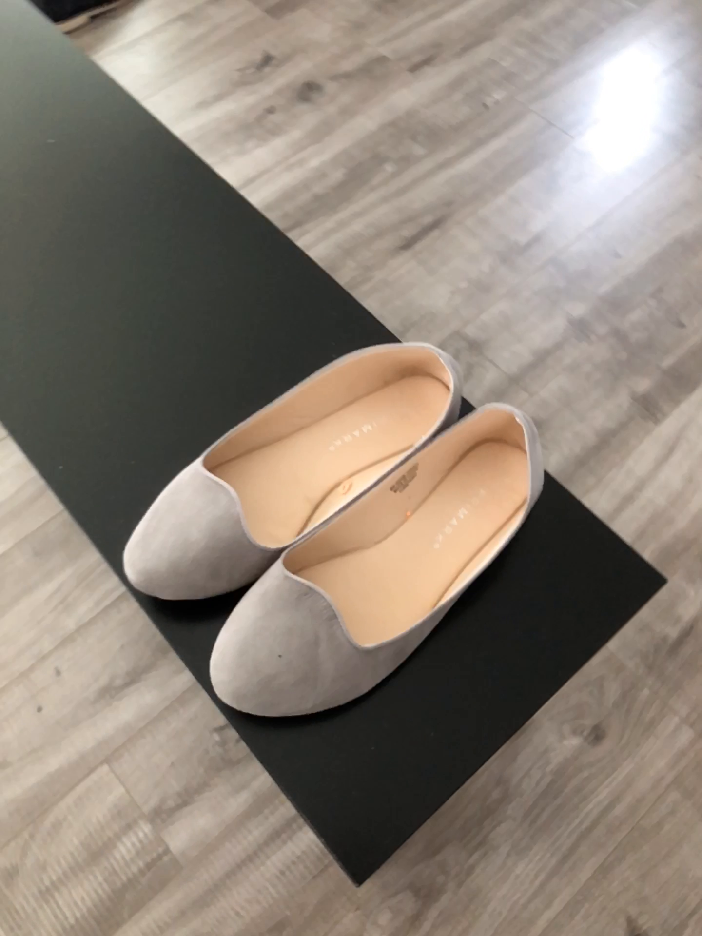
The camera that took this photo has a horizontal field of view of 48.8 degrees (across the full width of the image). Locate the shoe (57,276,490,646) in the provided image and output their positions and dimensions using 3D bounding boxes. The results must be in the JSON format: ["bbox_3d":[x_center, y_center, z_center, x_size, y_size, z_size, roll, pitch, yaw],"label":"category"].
[{"bbox_3d":[-0.042,-0.011,0.494,0.250,0.060,0.100,-35,68,-16],"label":"shoe"}]

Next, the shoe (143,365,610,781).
[{"bbox_3d":[0.020,0.055,0.459,0.256,0.060,0.100,-35,68,-16],"label":"shoe"}]
